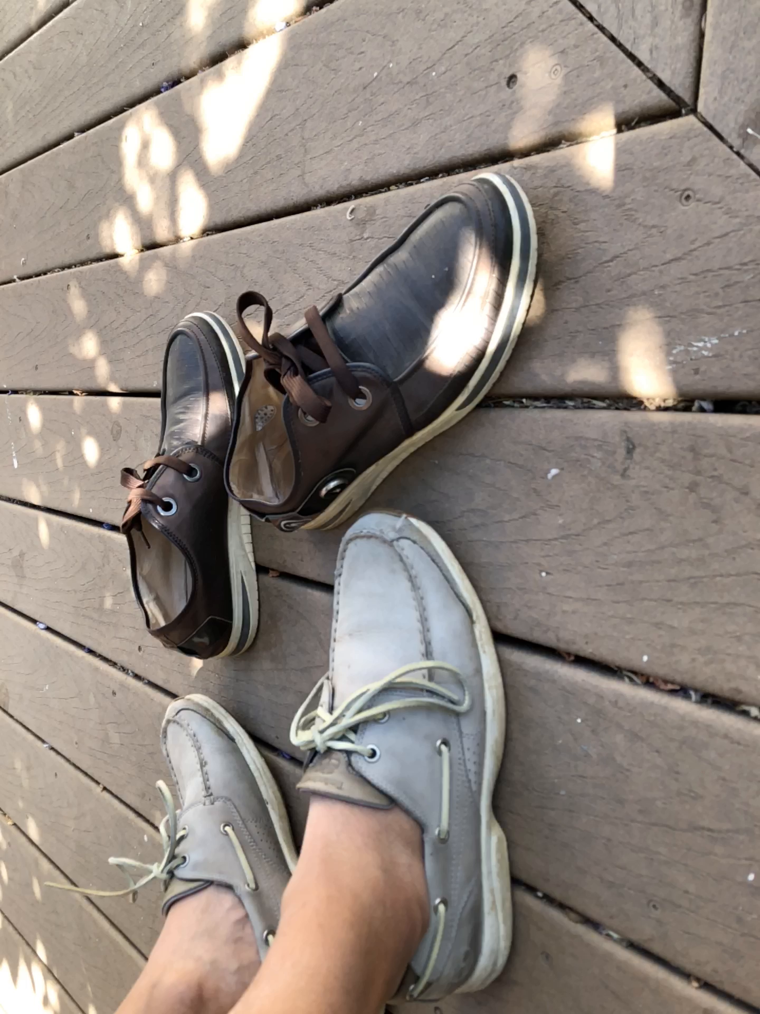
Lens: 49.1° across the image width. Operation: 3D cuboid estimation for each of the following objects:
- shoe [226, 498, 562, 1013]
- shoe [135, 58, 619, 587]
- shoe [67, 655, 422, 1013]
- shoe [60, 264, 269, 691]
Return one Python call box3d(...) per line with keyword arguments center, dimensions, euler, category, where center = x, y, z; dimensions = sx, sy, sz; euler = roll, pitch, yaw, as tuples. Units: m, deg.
box3d(center=(0.005, 0.155, 0.490), dimensions=(0.111, 0.111, 0.303), euler=(-15, 80, 46), category="shoe")
box3d(center=(-0.024, -0.082, 0.503), dimensions=(0.304, 0.111, 0.110), euler=(-46, 59, 37), category="shoe")
box3d(center=(-0.118, 0.269, 0.626), dimensions=(0.304, 0.111, 0.110), euler=(50, 125, 33), category="shoe")
box3d(center=(-0.174, -0.020, 0.667), dimensions=(0.111, 0.111, 0.303), euler=(-3, 89, 47), category="shoe")
